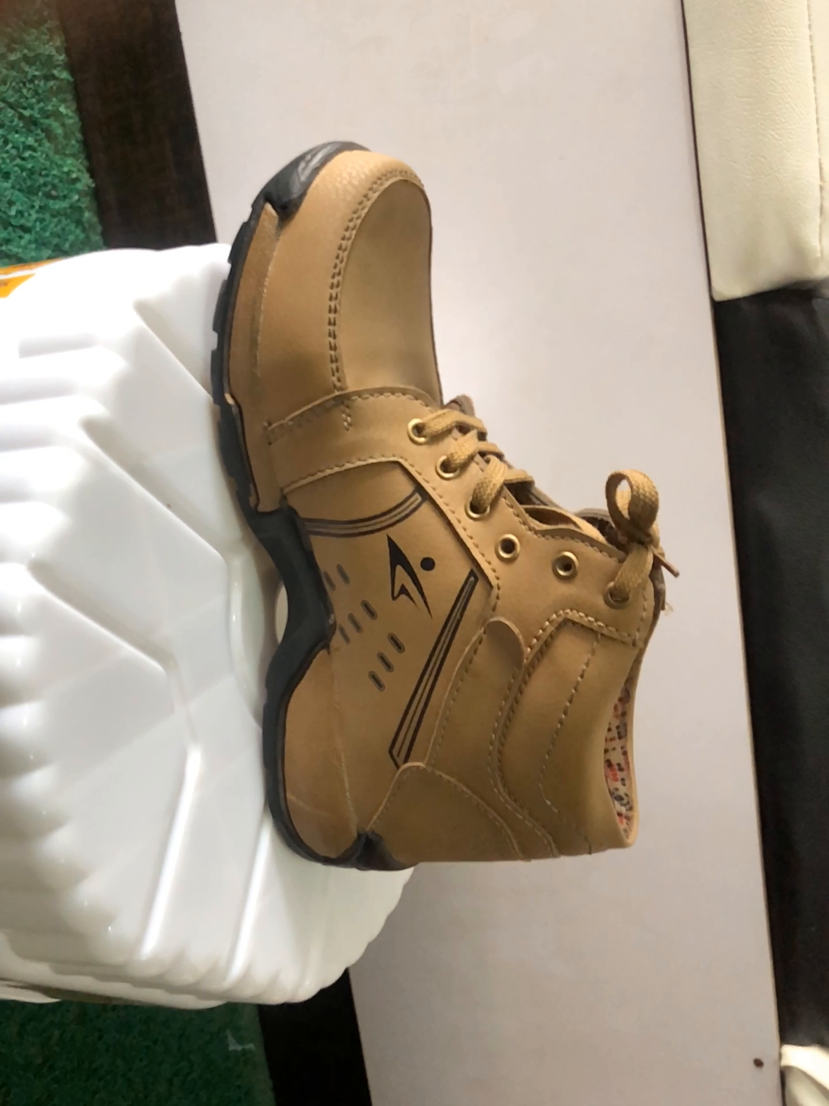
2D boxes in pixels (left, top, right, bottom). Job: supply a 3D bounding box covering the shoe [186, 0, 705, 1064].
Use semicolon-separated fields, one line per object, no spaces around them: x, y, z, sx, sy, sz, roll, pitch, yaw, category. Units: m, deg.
0.024;-0.017;0.323;0.141;0.109;0.300;-9;94;-65;shoe
